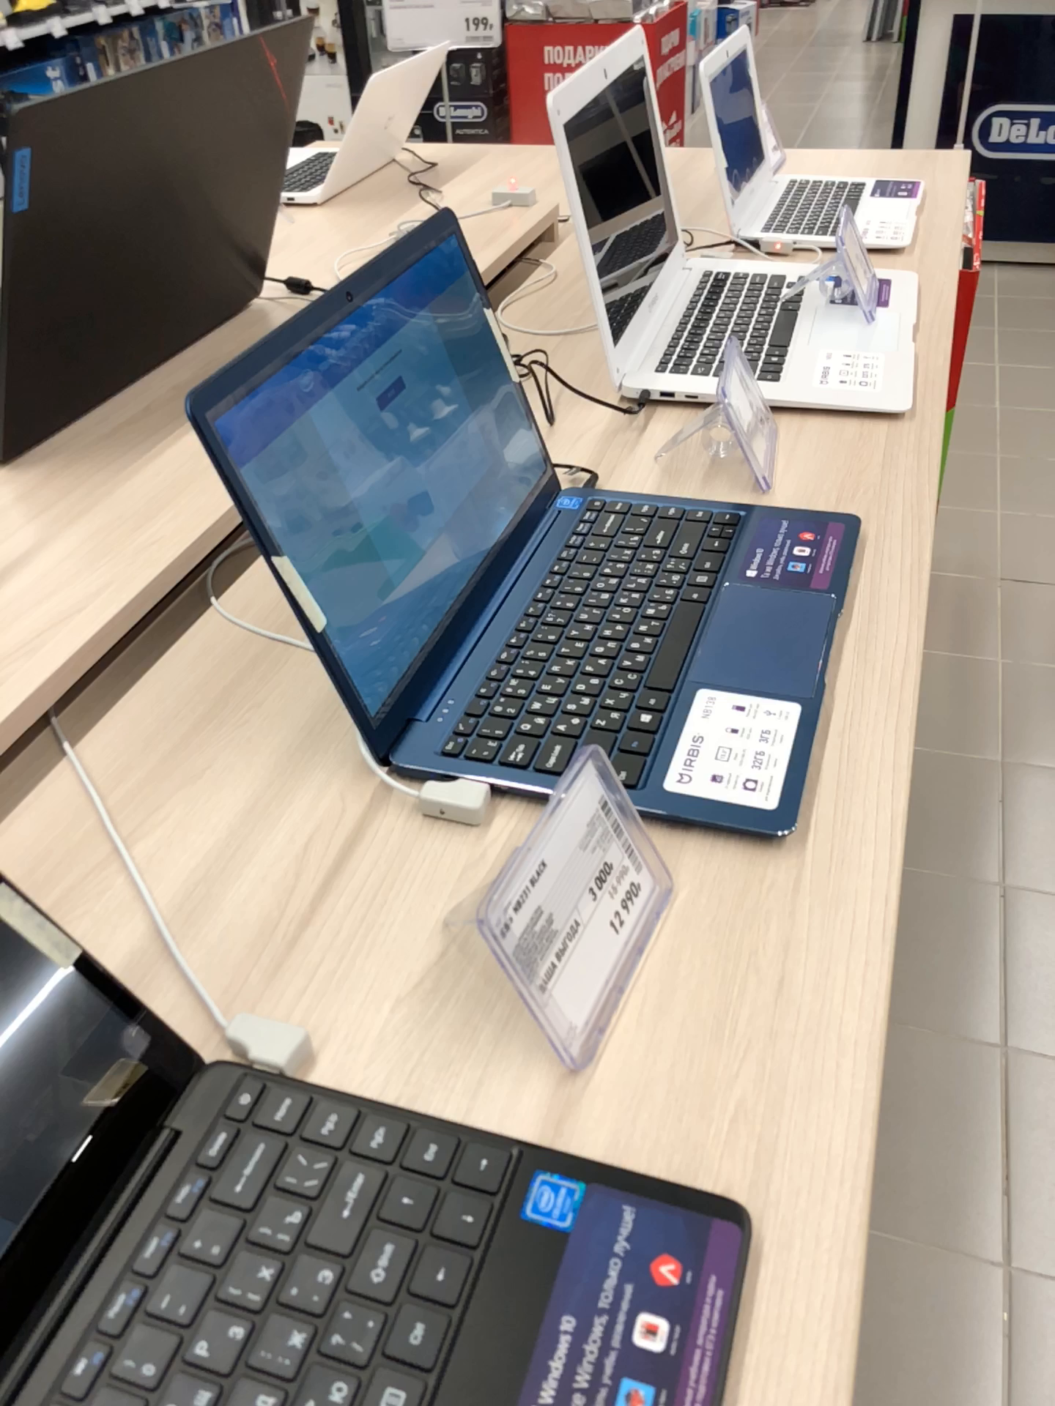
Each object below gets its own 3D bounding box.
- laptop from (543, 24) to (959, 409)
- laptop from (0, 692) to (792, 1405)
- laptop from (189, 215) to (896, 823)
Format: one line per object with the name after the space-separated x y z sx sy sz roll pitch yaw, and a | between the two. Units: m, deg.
0.196 -0.431 0.987 0.288 0.217 0.312 8 39 14 | laptop
-0.131 0.164 0.258 0.327 0.155 0.302 8 36 15 | laptop
0.037 -0.127 0.632 0.270 0.185 0.310 9 38 16 | laptop
